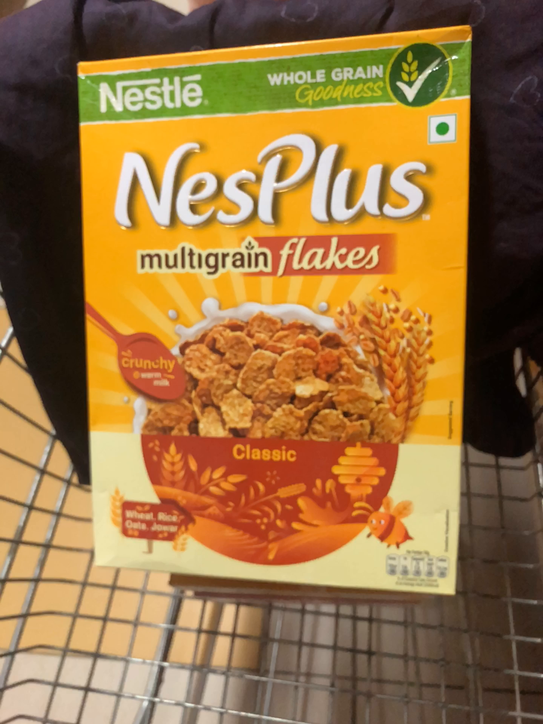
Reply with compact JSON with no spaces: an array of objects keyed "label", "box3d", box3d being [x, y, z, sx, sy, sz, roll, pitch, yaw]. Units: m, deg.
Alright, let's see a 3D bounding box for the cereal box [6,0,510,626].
[{"label":"cereal box","box3d":[-0.005,-0.023,0.292,0.190,0.080,0.260,2,101,8]}]
